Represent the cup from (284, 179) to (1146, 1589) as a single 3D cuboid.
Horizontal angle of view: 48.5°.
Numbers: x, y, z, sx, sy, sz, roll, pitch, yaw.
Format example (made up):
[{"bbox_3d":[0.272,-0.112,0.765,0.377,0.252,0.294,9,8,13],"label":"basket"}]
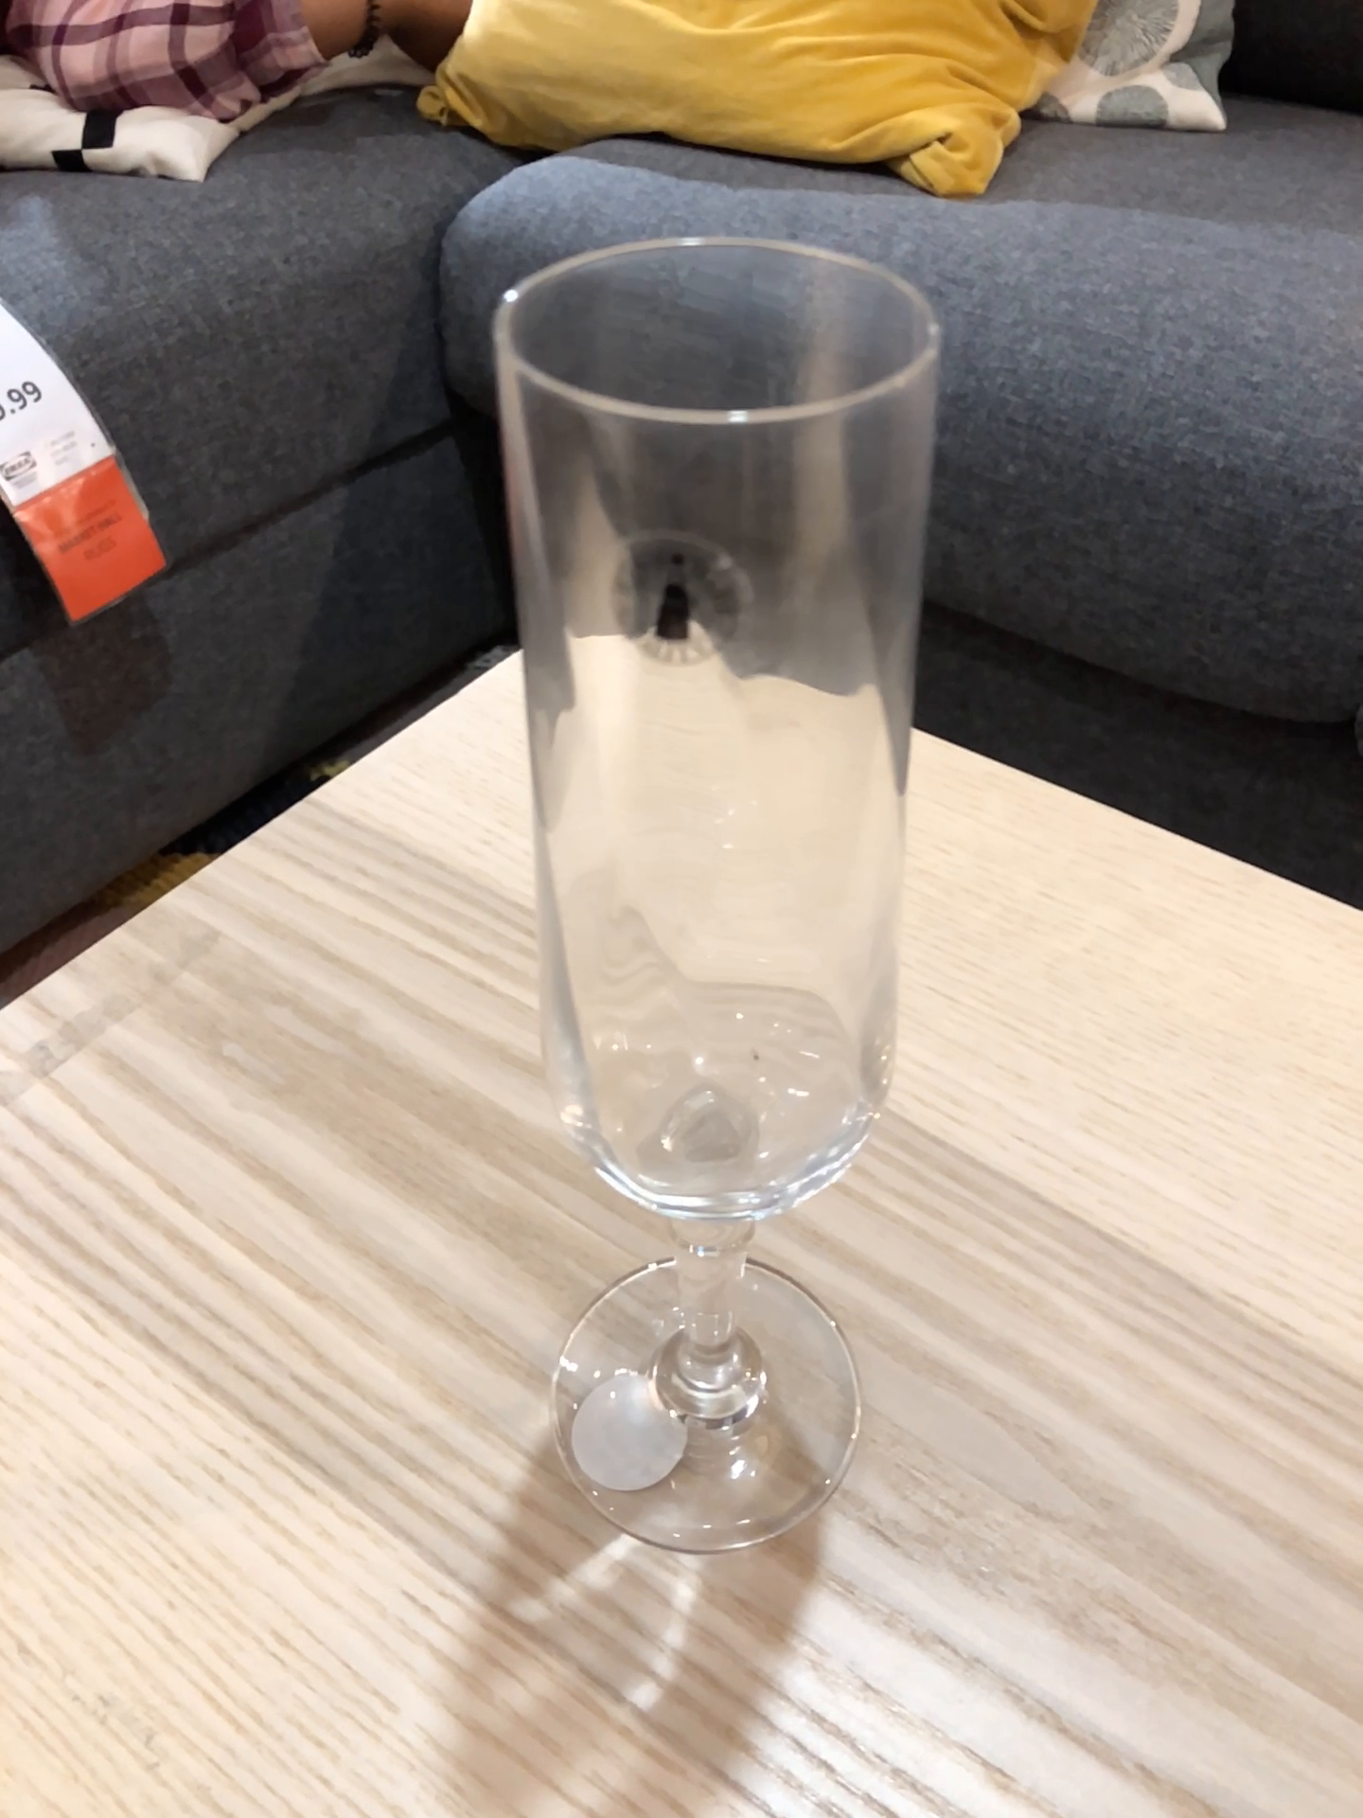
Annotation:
[{"bbox_3d":[0.002,0.020,0.251,0.080,0.239,0.080,0,43,0],"label":"cup"}]
